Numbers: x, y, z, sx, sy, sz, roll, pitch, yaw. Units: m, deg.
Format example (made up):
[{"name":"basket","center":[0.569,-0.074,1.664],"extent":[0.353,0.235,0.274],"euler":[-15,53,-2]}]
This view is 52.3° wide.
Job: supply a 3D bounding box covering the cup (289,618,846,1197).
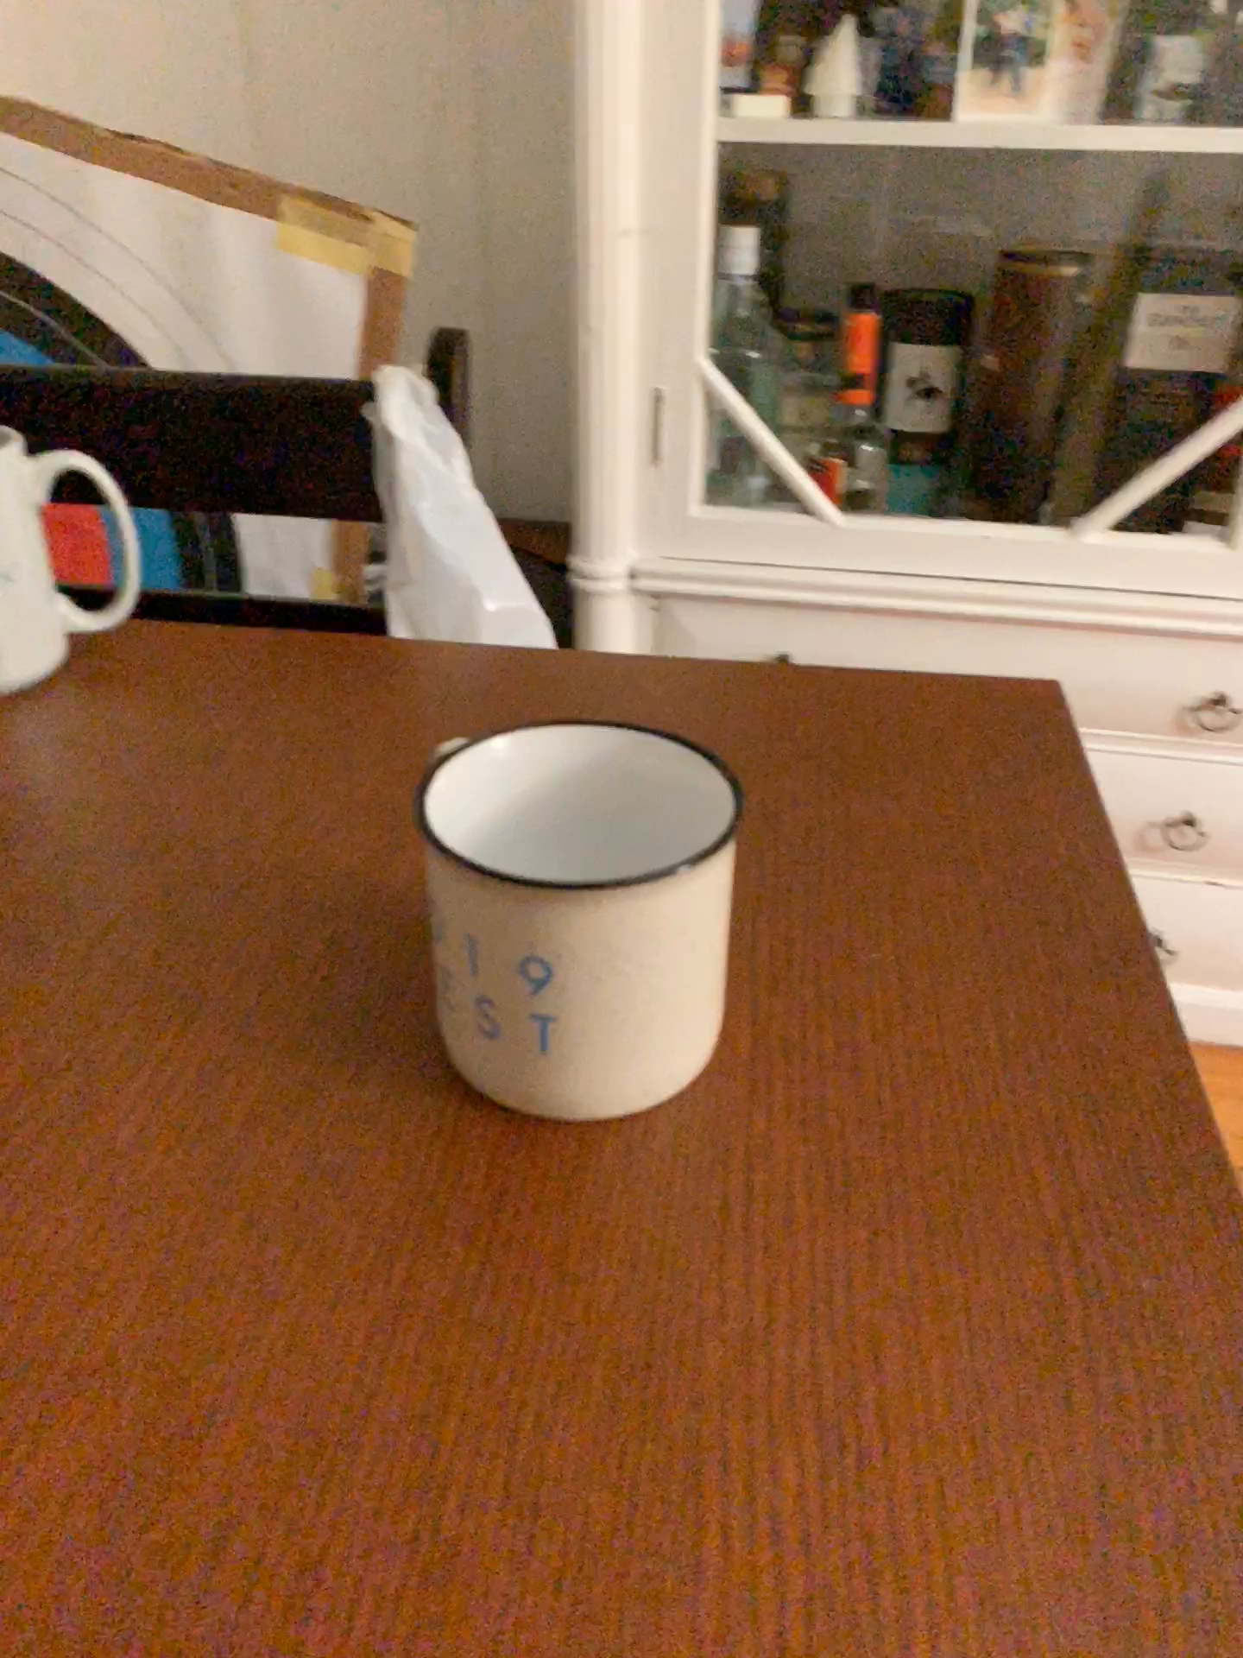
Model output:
[{"name":"cup","center":[-0.022,0.013,0.406],"extent":[0.100,0.099,0.151],"euler":[-21,37,-31]}]
